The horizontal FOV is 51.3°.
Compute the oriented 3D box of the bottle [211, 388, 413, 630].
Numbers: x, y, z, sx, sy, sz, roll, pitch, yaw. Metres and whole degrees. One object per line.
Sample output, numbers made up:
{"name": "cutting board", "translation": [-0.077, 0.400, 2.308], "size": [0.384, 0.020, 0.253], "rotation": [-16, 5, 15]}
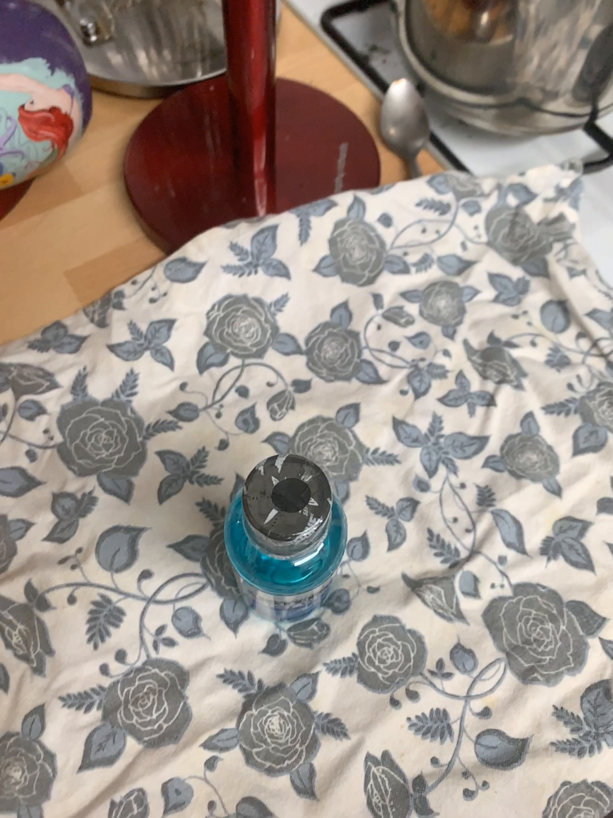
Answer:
{"name": "bottle", "translation": [-0.002, 0.042, 0.224], "size": [0.050, 0.109, 0.050], "rotation": [1, 64, -2]}
